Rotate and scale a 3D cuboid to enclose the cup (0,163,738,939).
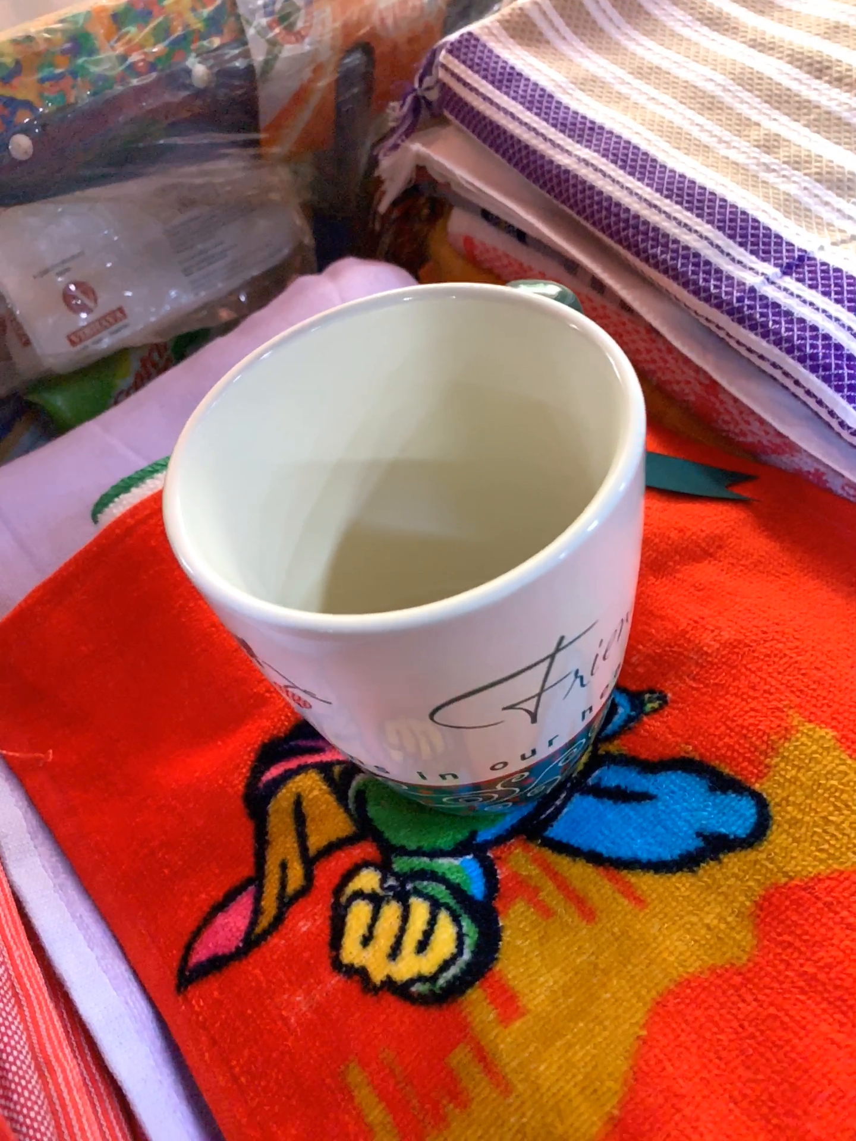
[{"bbox_3d":[0.002,-0.011,0.206,0.100,0.094,0.133,13,57,22],"label":"cup"}]
